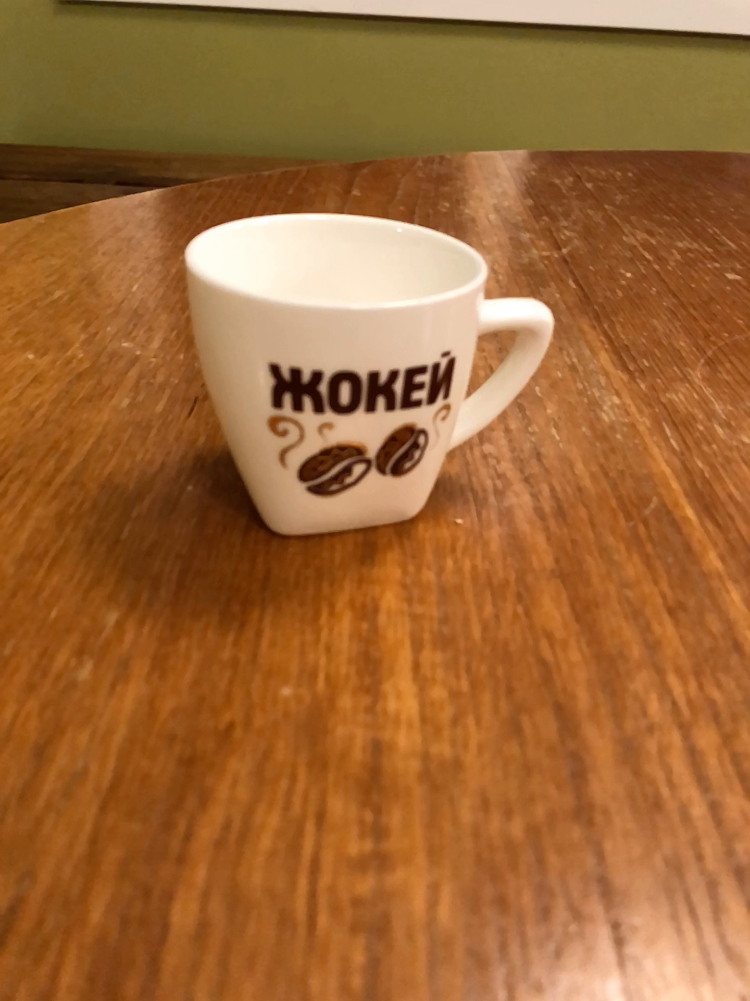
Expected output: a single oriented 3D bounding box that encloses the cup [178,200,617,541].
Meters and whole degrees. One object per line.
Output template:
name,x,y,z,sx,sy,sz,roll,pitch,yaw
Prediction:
cup,0.000,-0.033,0.182,0.075,0.047,0.060,-7,35,-14
